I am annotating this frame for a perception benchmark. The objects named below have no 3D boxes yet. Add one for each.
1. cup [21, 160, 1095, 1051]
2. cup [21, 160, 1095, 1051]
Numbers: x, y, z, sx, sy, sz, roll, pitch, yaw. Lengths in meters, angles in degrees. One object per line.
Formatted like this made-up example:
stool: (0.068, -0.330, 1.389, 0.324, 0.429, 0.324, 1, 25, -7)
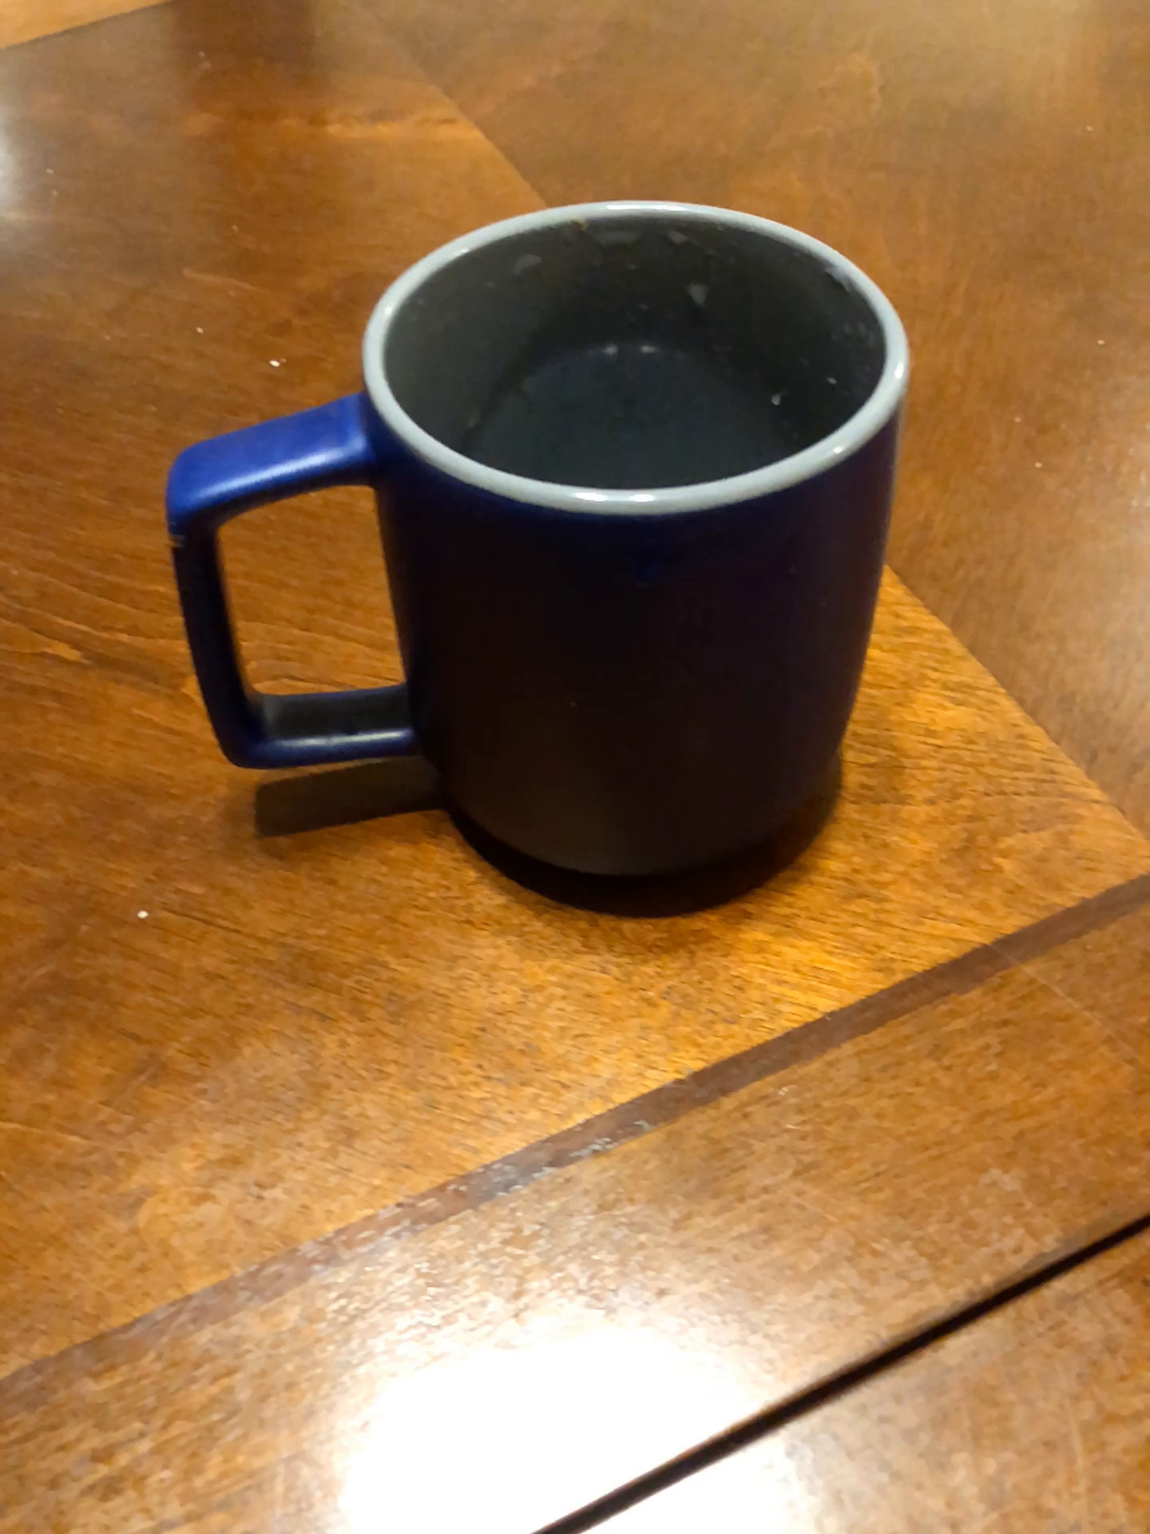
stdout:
cup: (-0.007, -0.030, 0.233, 0.140, 0.099, 0.101, -10, 50, -6)
cup: (-0.007, -0.030, 0.233, 0.140, 0.099, 0.101, -10, 50, -6)
